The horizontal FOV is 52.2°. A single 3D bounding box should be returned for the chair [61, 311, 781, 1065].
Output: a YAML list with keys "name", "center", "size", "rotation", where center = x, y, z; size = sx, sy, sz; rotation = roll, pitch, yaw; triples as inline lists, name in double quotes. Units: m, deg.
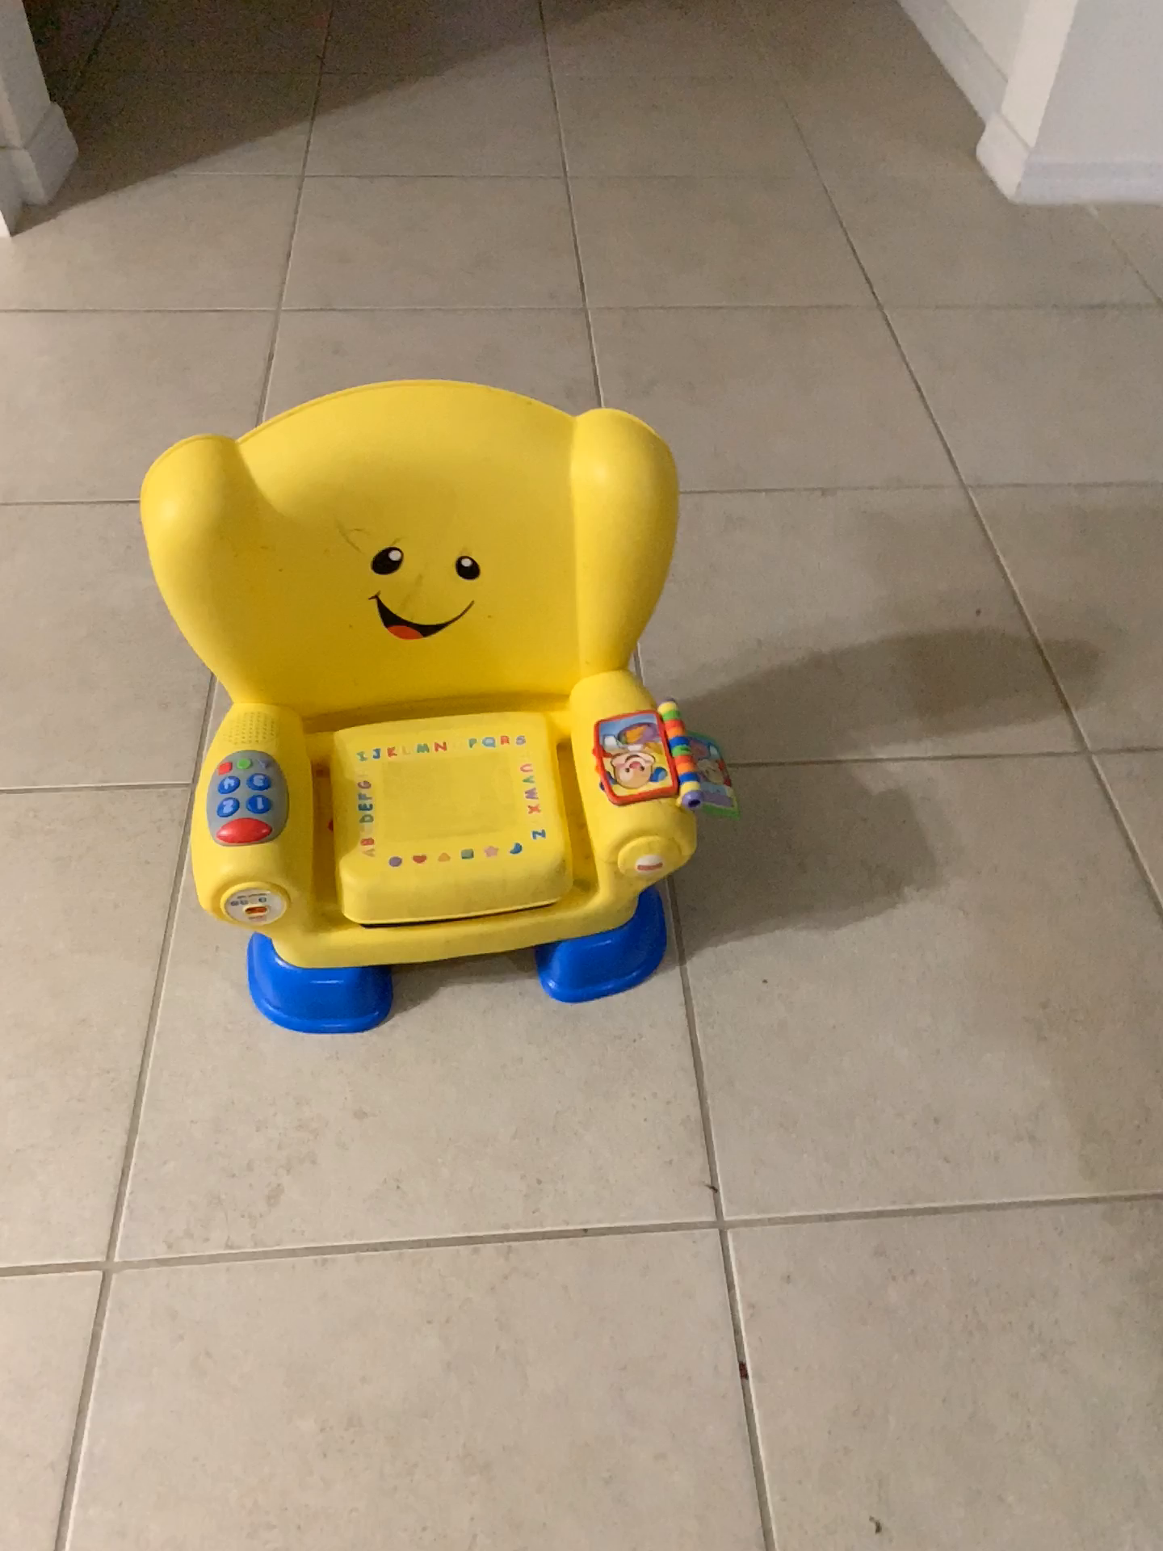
- name: "chair"
  center: [-0.118, -0.060, 1.002]
  size: [0.420, 0.485, 0.373]
  rotation: [-4, 50, -6]
